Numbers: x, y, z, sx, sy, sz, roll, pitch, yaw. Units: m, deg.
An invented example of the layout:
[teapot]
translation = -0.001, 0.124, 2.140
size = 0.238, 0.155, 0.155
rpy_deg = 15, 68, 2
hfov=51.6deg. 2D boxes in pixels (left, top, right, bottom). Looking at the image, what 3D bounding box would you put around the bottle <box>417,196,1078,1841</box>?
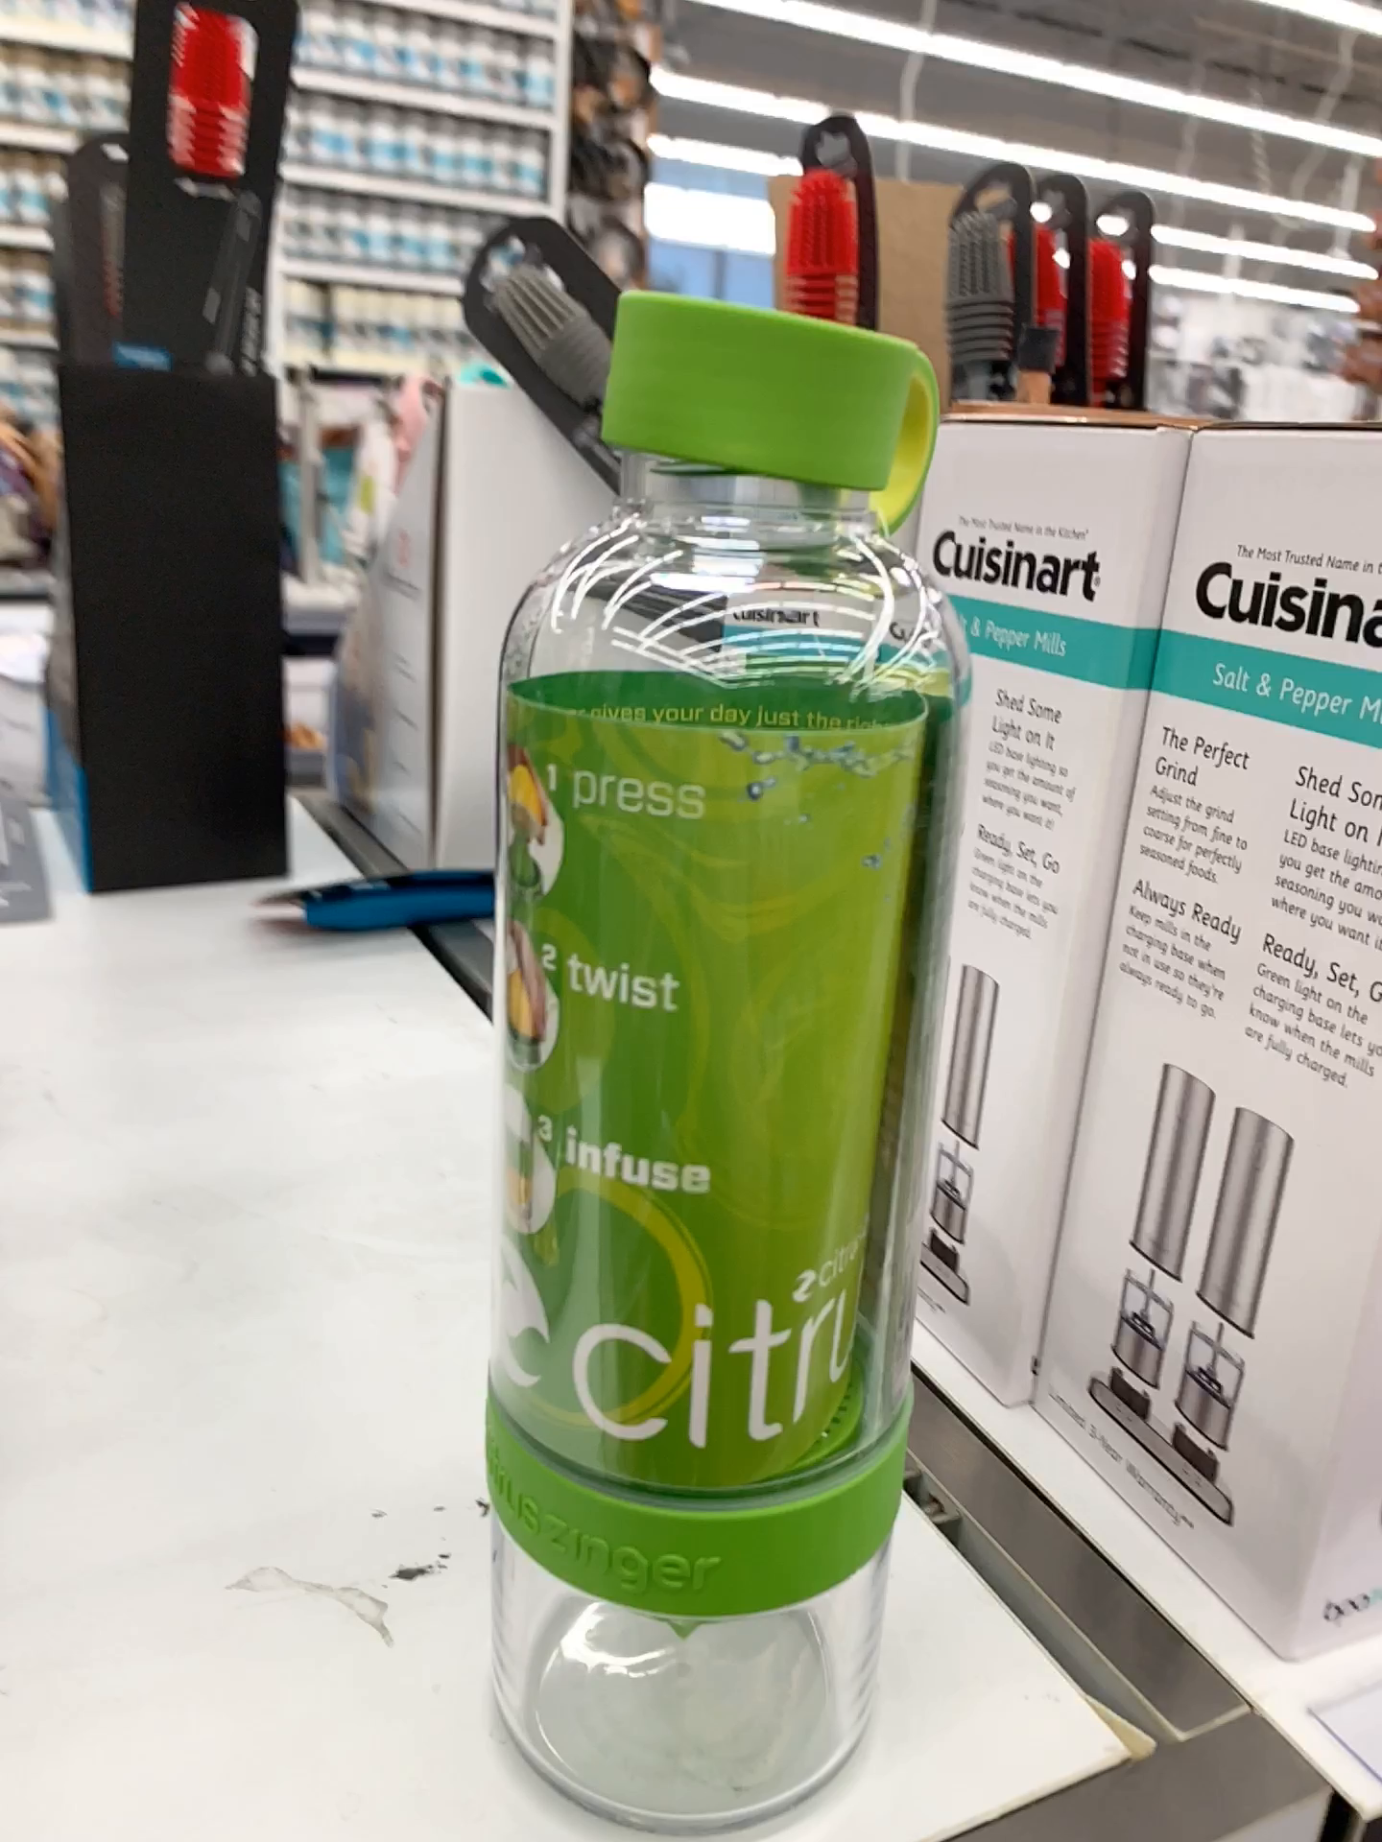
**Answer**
[bottle]
translation = 0.005, 0.023, 0.245
size = 0.078, 0.250, 0.081
rpy_deg = 3, 17, -1
